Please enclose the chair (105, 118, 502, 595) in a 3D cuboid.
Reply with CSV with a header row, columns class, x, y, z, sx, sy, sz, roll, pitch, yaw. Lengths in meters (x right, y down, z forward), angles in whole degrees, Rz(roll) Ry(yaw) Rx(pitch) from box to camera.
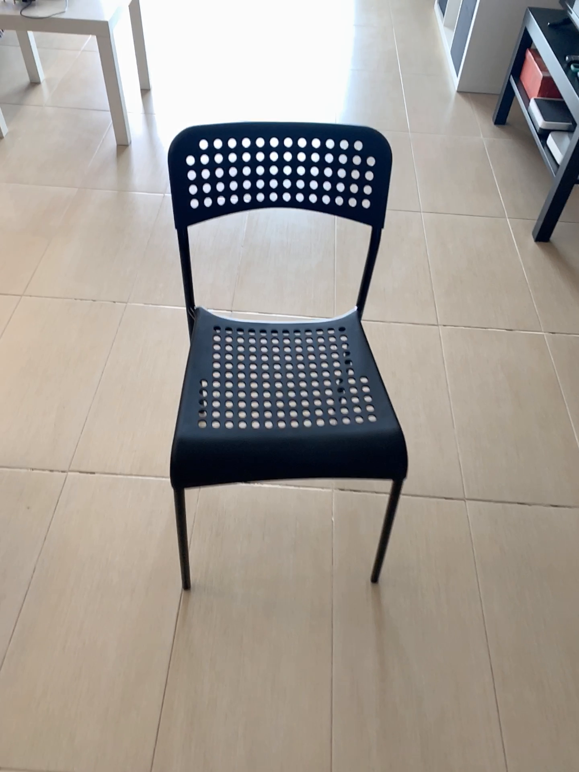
class,x,y,z,sx,sy,sz,roll,pitch,yaw
chair,-0.012,-0.013,1.042,0.420,0.686,0.493,-1,50,-4
